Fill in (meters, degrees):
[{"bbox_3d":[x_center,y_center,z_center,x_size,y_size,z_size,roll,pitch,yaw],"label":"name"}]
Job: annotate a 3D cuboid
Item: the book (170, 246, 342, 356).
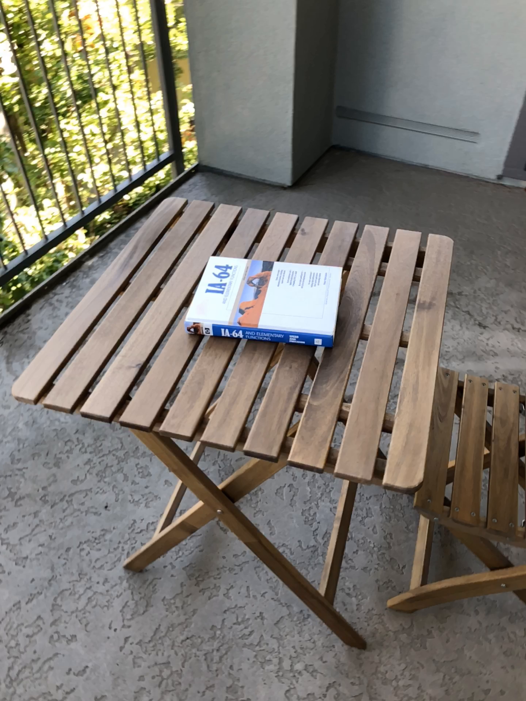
[{"bbox_3d":[-0.004,-0.090,0.977,0.250,0.040,0.201,7,45,8],"label":"book"}]
